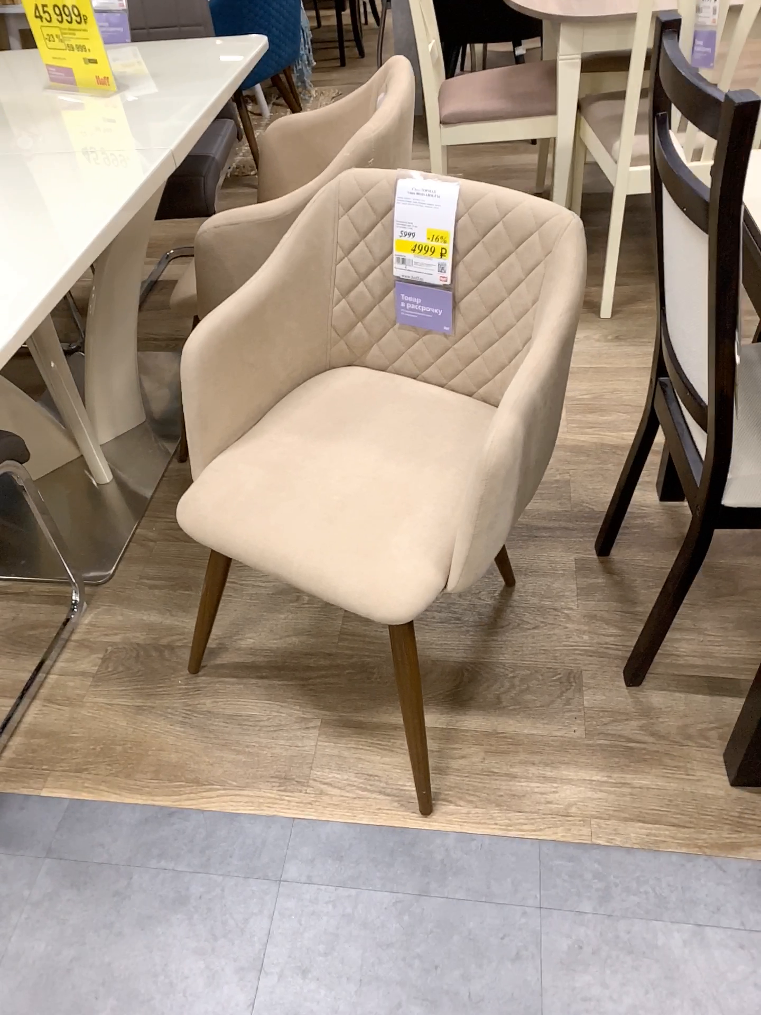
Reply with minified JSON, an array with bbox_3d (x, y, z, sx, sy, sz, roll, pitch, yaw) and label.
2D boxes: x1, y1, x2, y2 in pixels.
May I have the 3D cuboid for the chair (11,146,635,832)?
[{"bbox_3d":[-0.028,-0.037,1.302,0.601,0.835,0.572,22,50,27],"label":"chair"}]
